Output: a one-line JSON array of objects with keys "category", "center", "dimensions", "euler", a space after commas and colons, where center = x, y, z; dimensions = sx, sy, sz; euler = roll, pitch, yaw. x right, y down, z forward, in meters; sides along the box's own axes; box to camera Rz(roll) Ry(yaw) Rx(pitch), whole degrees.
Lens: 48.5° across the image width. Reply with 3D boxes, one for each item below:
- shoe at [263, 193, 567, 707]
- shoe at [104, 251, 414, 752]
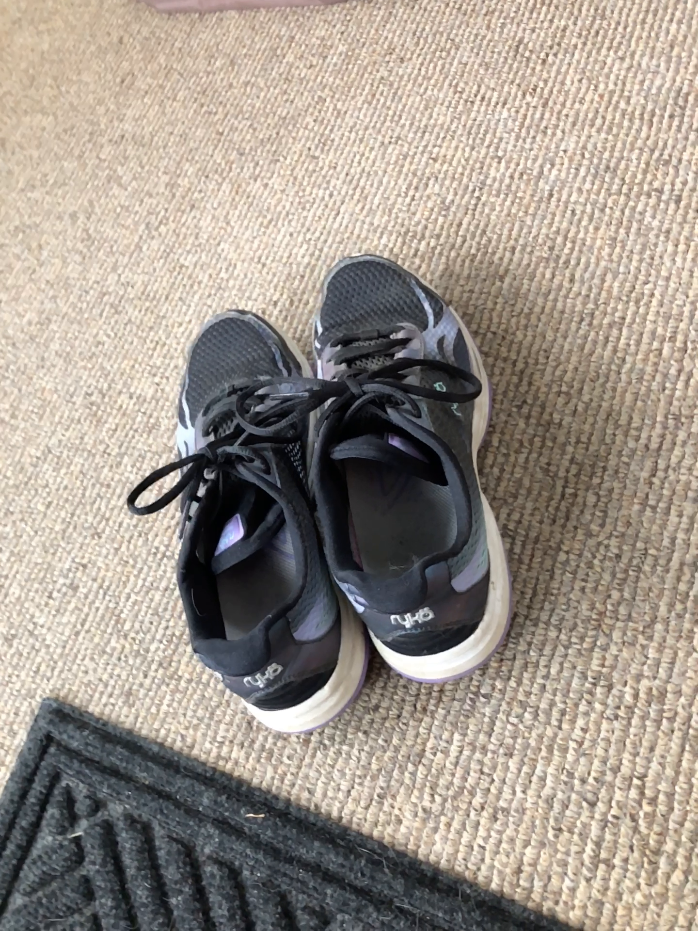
[{"category": "shoe", "center": [0.033, -0.010, 0.442], "dimensions": [0.102, 0.104, 0.257], "euler": [-17, 62, 12]}, {"category": "shoe", "center": [-0.059, 0.019, 0.460], "dimensions": [0.110, 0.104, 0.257], "euler": [-20, 61, 10]}]
